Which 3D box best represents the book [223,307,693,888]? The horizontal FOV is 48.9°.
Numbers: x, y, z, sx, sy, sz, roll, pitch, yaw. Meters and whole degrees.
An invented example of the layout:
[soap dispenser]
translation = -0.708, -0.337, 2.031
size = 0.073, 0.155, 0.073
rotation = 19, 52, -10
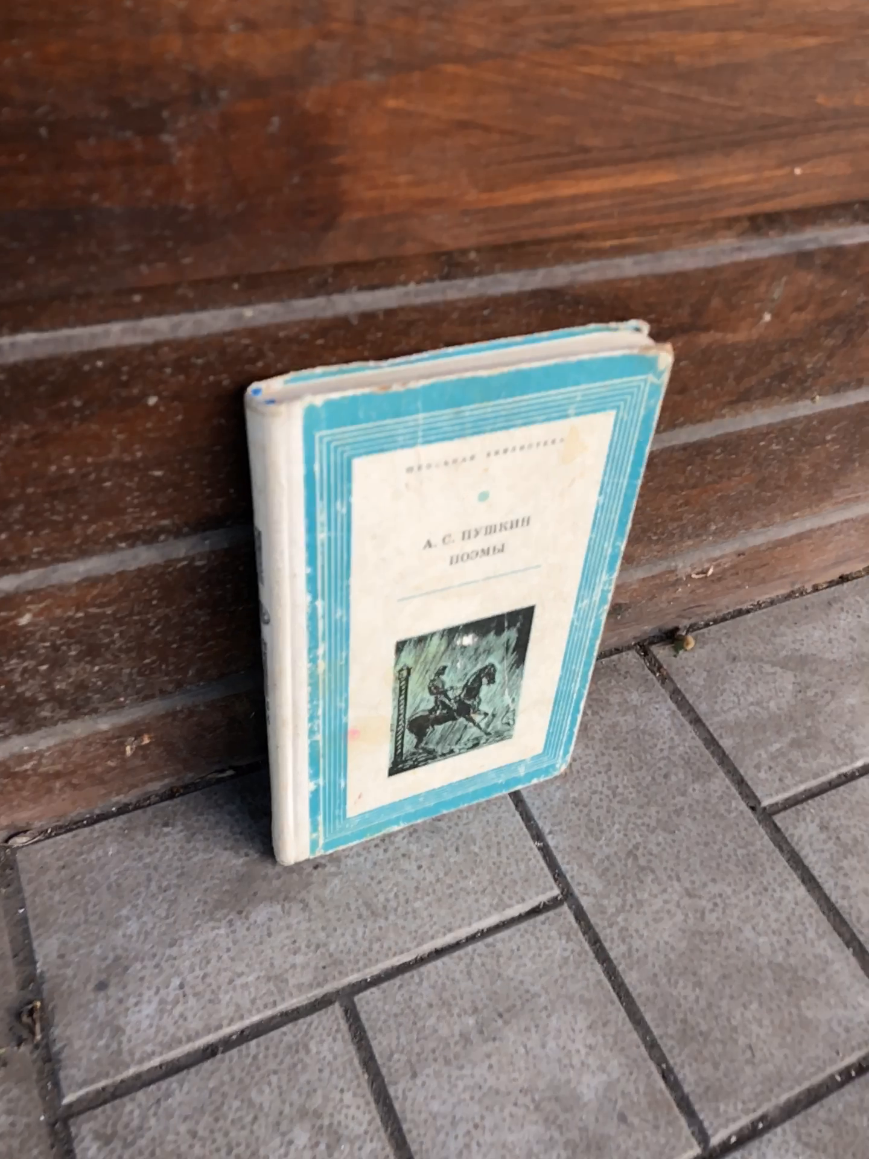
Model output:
[book]
translation = 0.004, 0.013, 0.321
size = 0.130, 0.189, 0.030
rotation = -14, 41, -22
